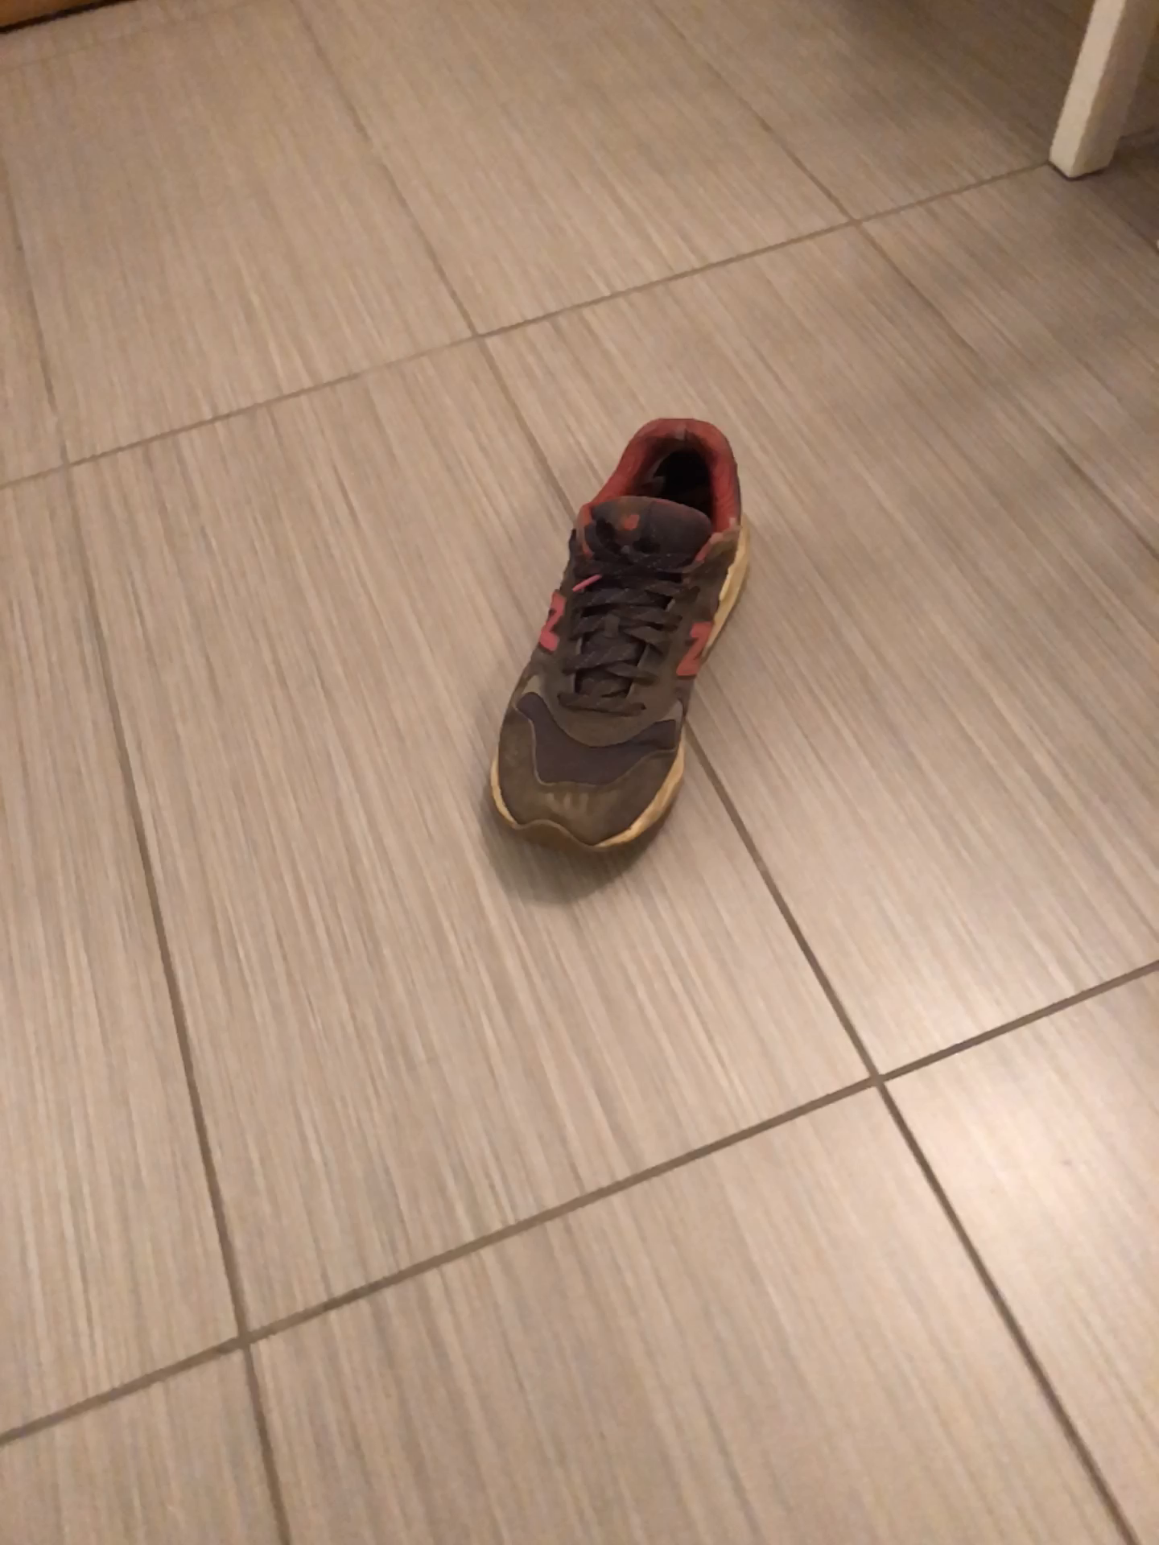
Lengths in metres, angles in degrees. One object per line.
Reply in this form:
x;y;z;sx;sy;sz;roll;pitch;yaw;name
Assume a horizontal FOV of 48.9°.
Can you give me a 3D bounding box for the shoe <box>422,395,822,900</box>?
0.033;-0.078;0.679;0.120;0.070;0.271;15;57;16;shoe
